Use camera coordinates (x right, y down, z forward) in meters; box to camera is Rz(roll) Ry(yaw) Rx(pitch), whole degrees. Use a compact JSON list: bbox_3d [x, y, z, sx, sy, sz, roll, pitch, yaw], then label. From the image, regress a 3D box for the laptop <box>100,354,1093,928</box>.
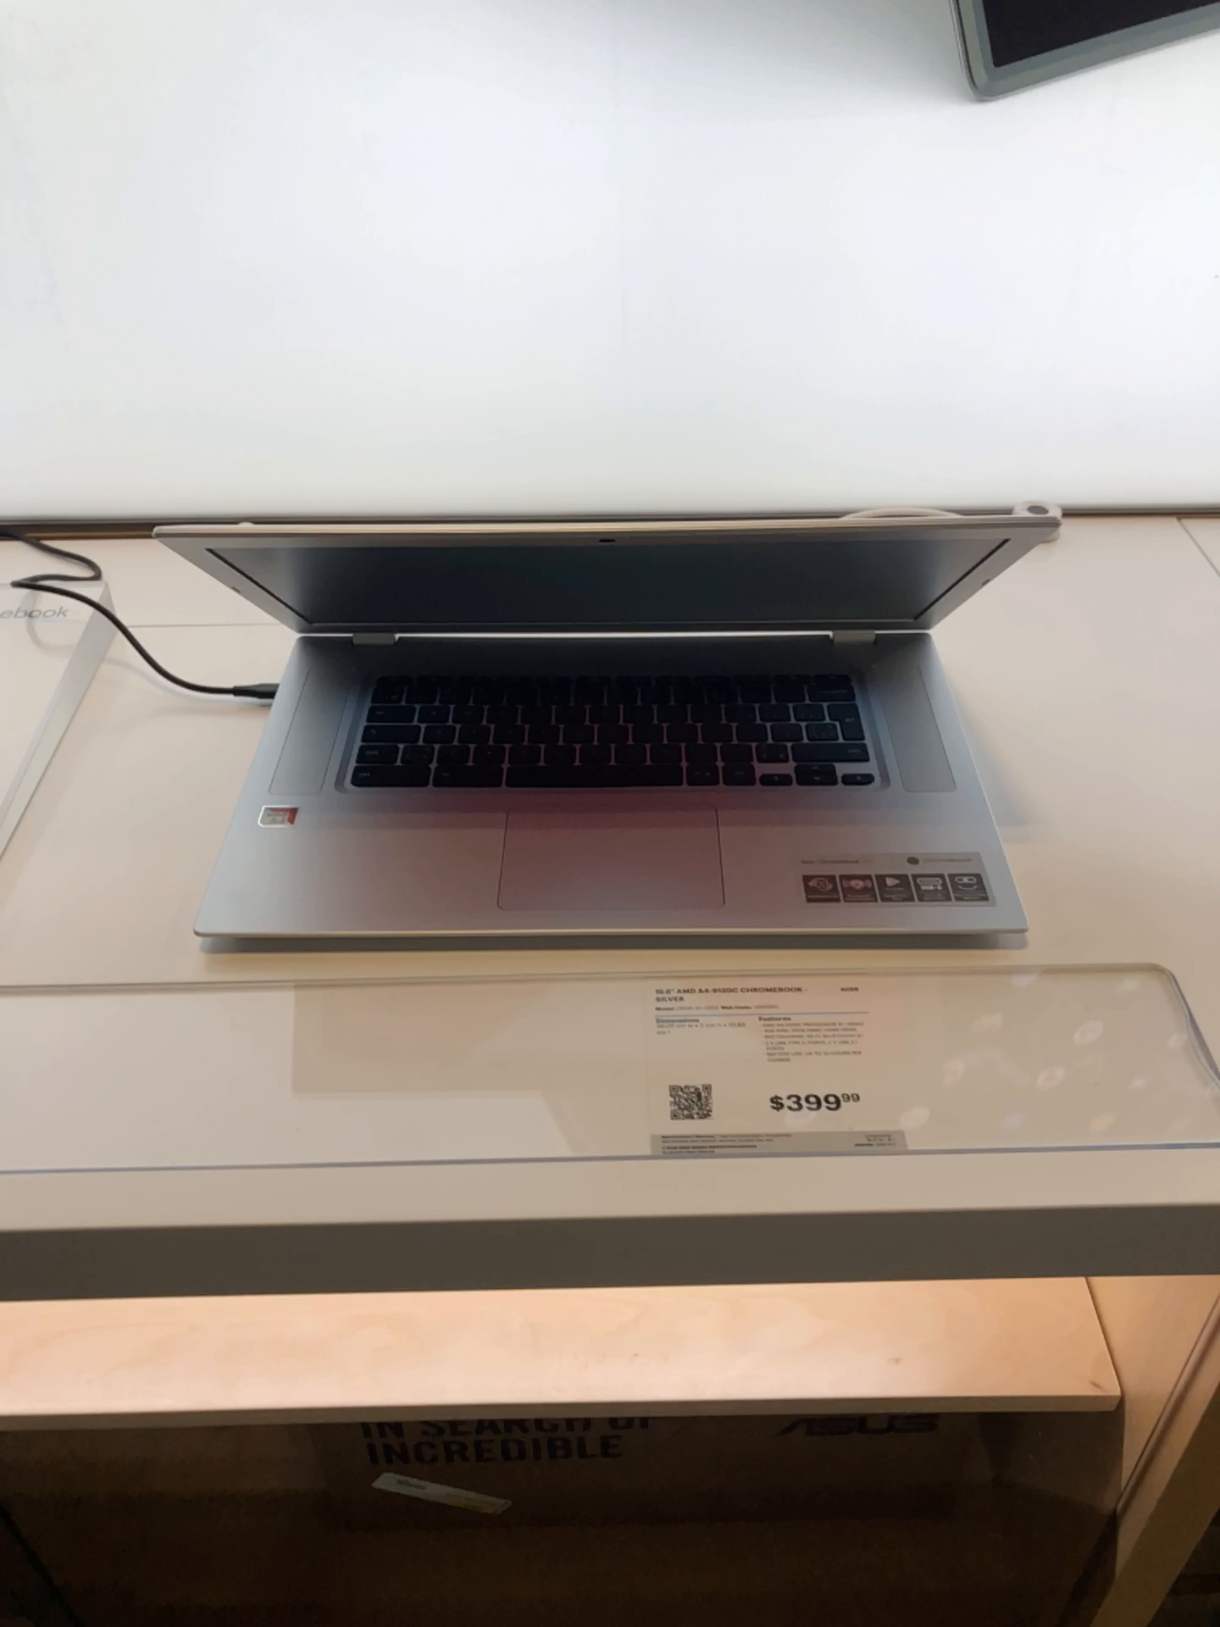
[{"bbox_3d":[-0.004,-0.093,0.649,0.367,0.166,0.256,0,38,1],"label":"laptop"}]
